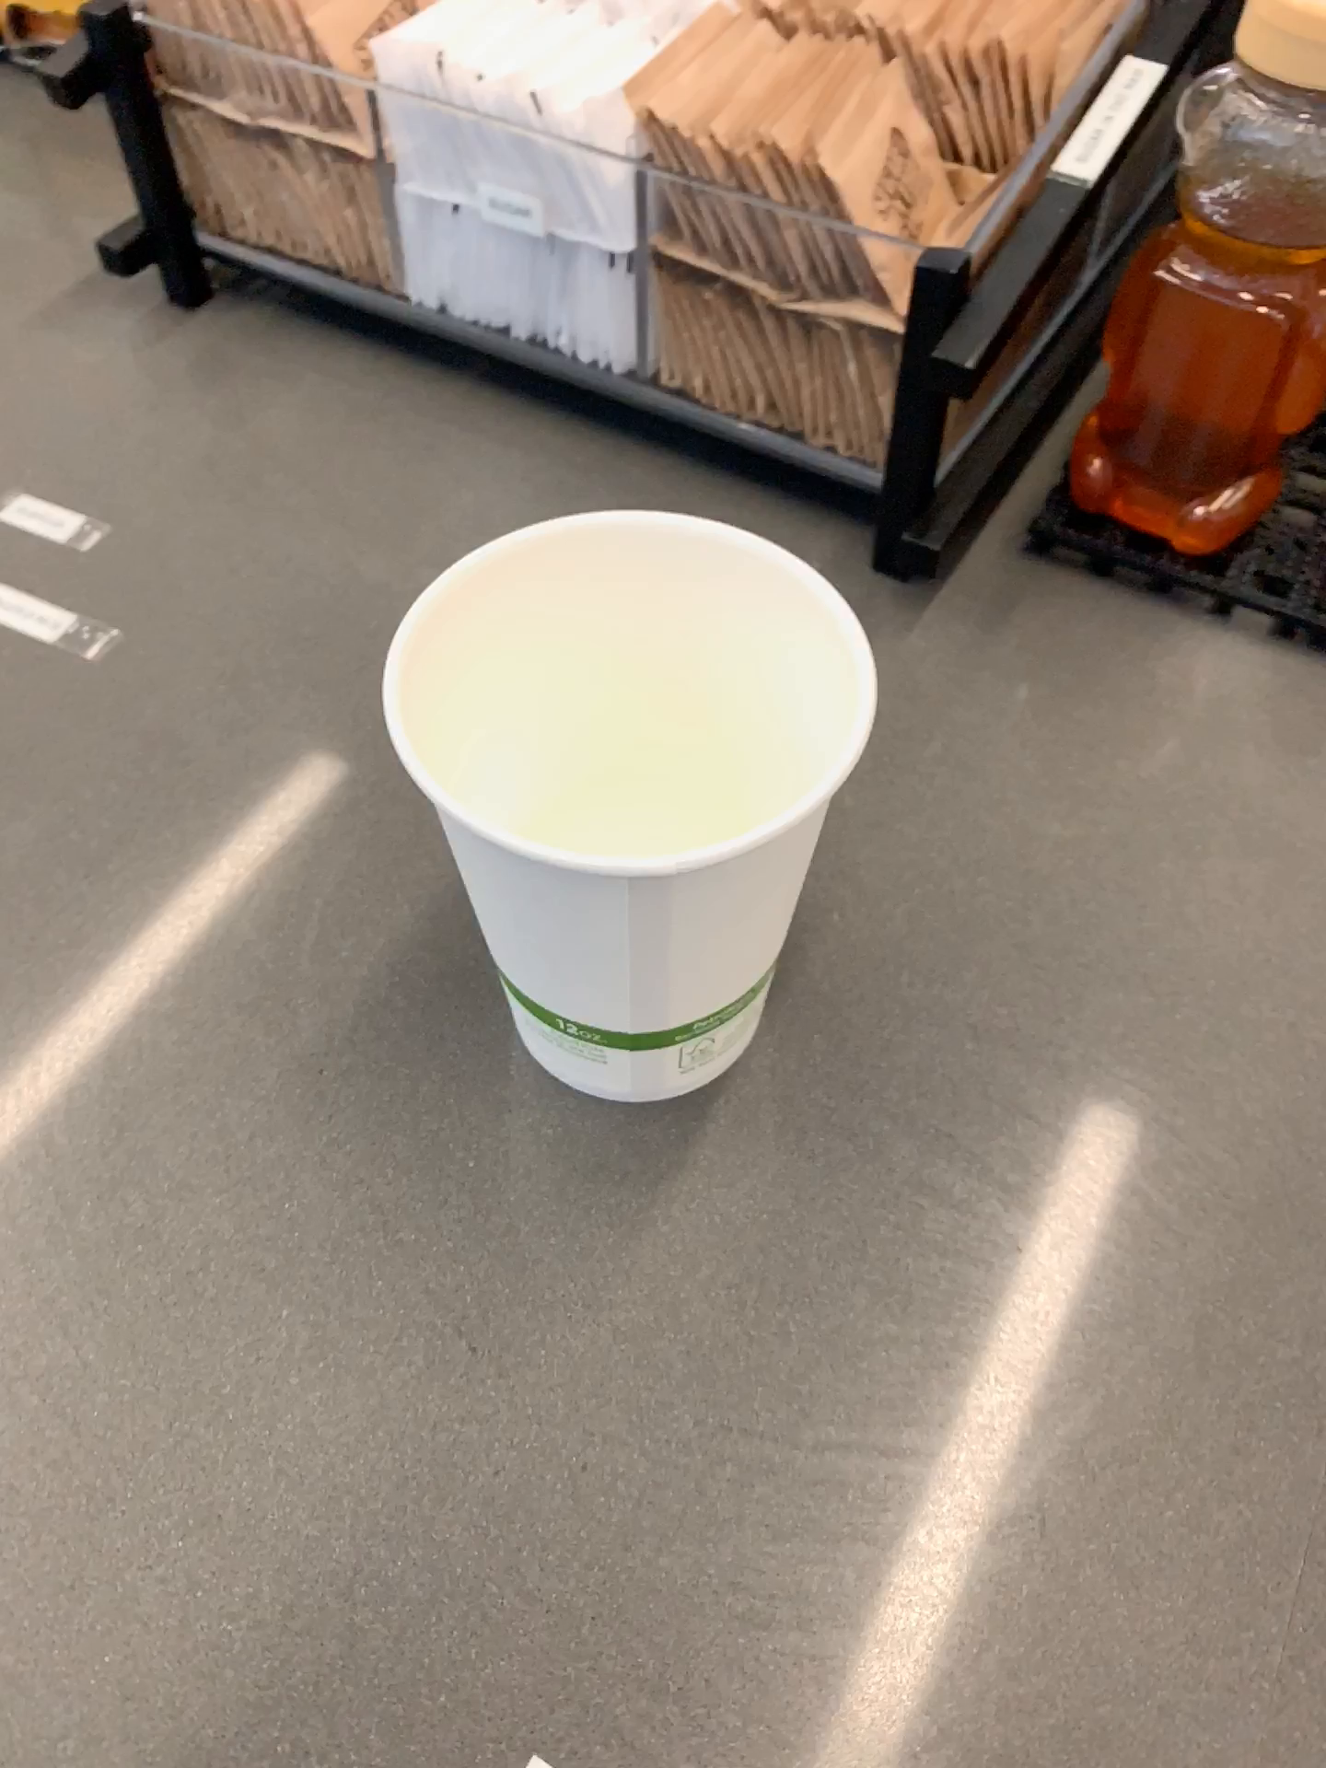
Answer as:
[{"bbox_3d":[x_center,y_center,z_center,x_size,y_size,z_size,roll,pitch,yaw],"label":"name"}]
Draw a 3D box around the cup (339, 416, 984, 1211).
[{"bbox_3d":[-0.004,-0.009,0.273,0.080,0.120,0.080,0,53,0],"label":"cup"}]
